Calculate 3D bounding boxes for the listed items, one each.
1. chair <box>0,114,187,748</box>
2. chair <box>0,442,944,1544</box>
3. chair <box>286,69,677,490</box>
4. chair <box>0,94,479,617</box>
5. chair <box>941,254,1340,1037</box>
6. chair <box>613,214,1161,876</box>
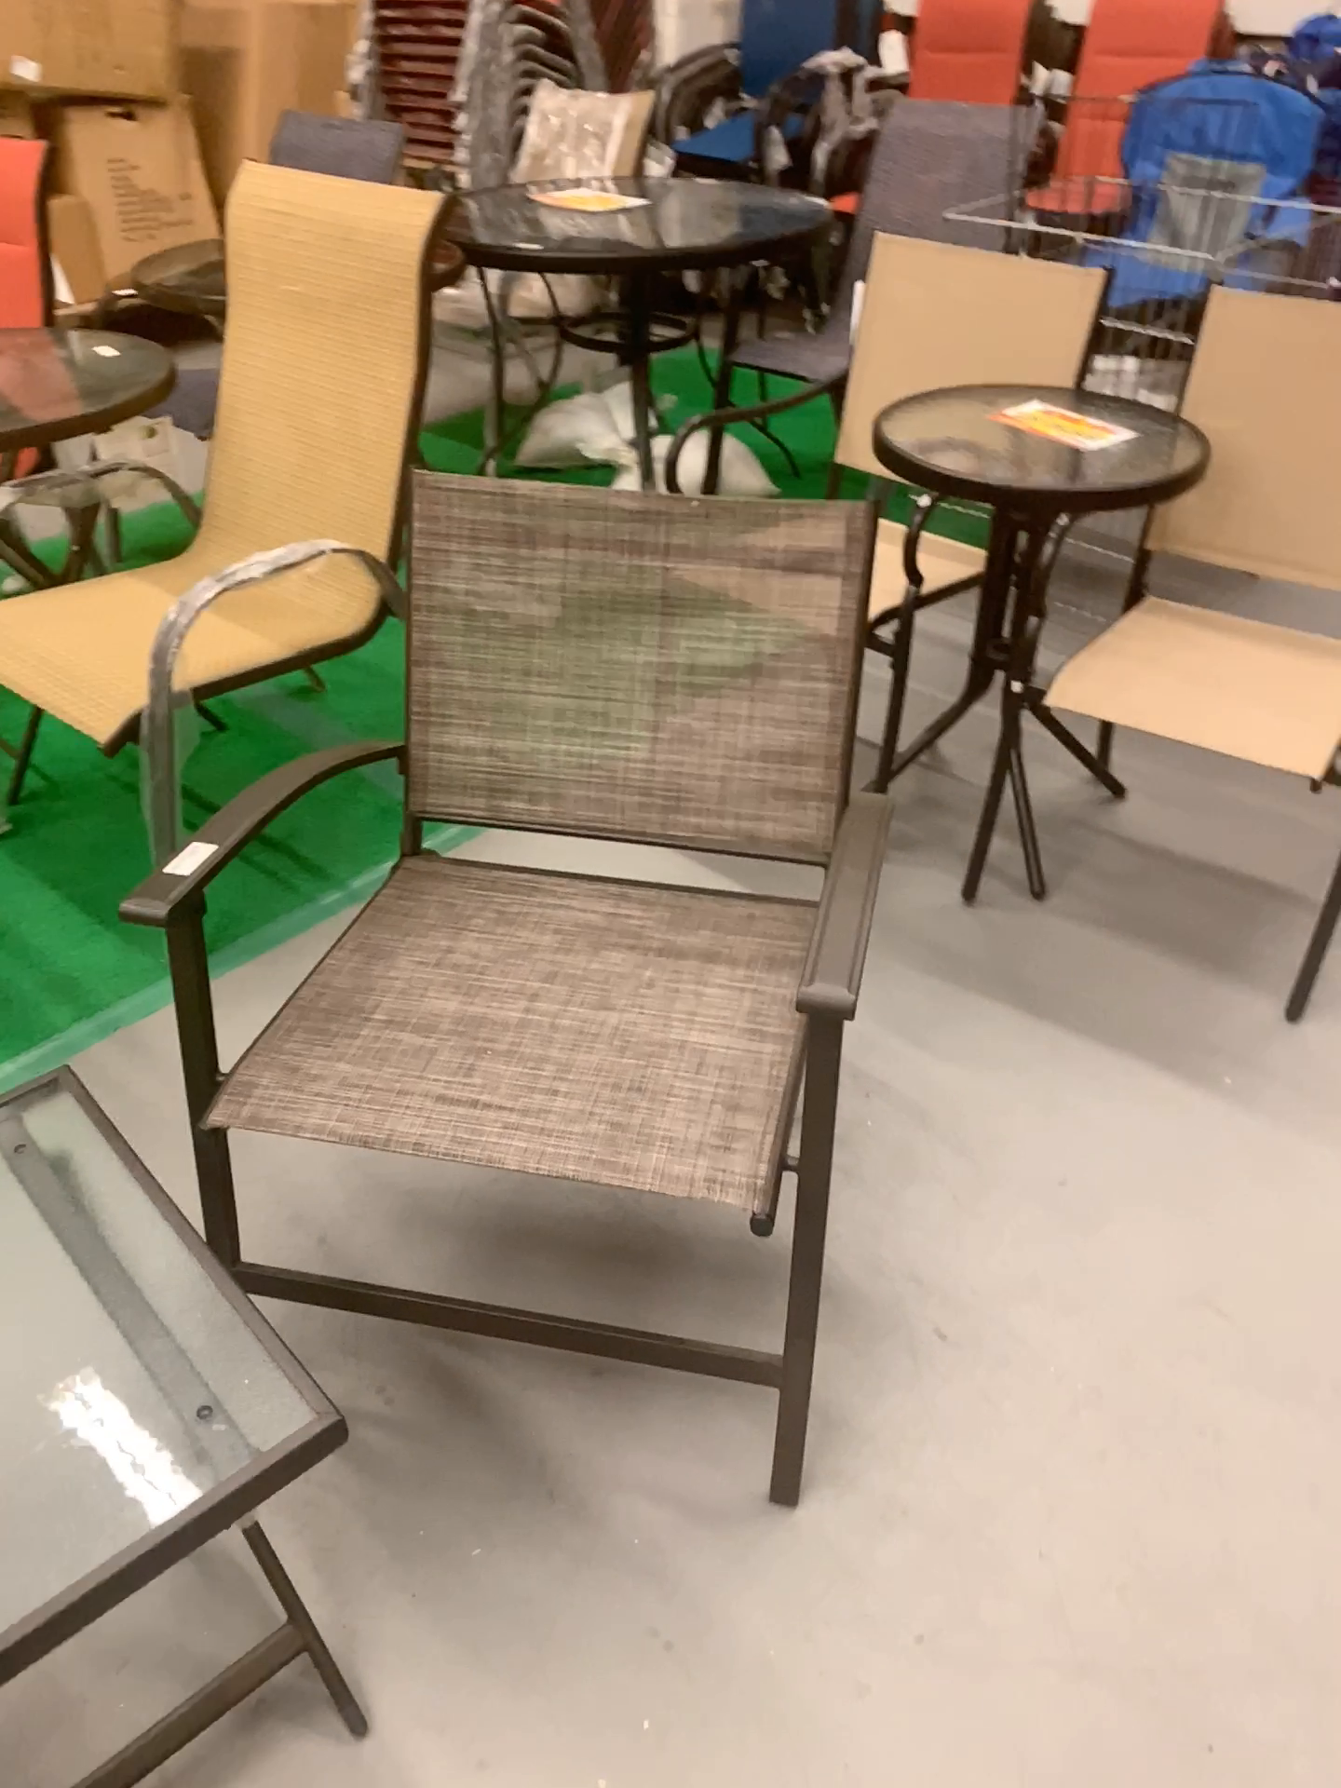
[{"bbox_3d":[-1.508,-0.939,2.679,0.670,0.956,0.676,-28,44,-37],"label":"chair"},{"bbox_3d":[-0.105,0.052,1.445,0.674,0.777,0.773,6,36,8],"label":"chair"},{"bbox_3d":[-0.543,-1.908,4.169,0.696,0.996,0.871,28,42,32],"label":"chair"},{"bbox_3d":[-1.019,-1.327,3.276,0.736,0.957,0.771,26,41,31],"label":"chair"},{"bbox_3d":[0.831,-0.391,1.972,0.555,0.847,0.631,21,38,26],"label":"chair"},{"bbox_3d":[0.330,-0.616,2.294,0.575,0.837,0.630,26,41,31],"label":"chair"}]
